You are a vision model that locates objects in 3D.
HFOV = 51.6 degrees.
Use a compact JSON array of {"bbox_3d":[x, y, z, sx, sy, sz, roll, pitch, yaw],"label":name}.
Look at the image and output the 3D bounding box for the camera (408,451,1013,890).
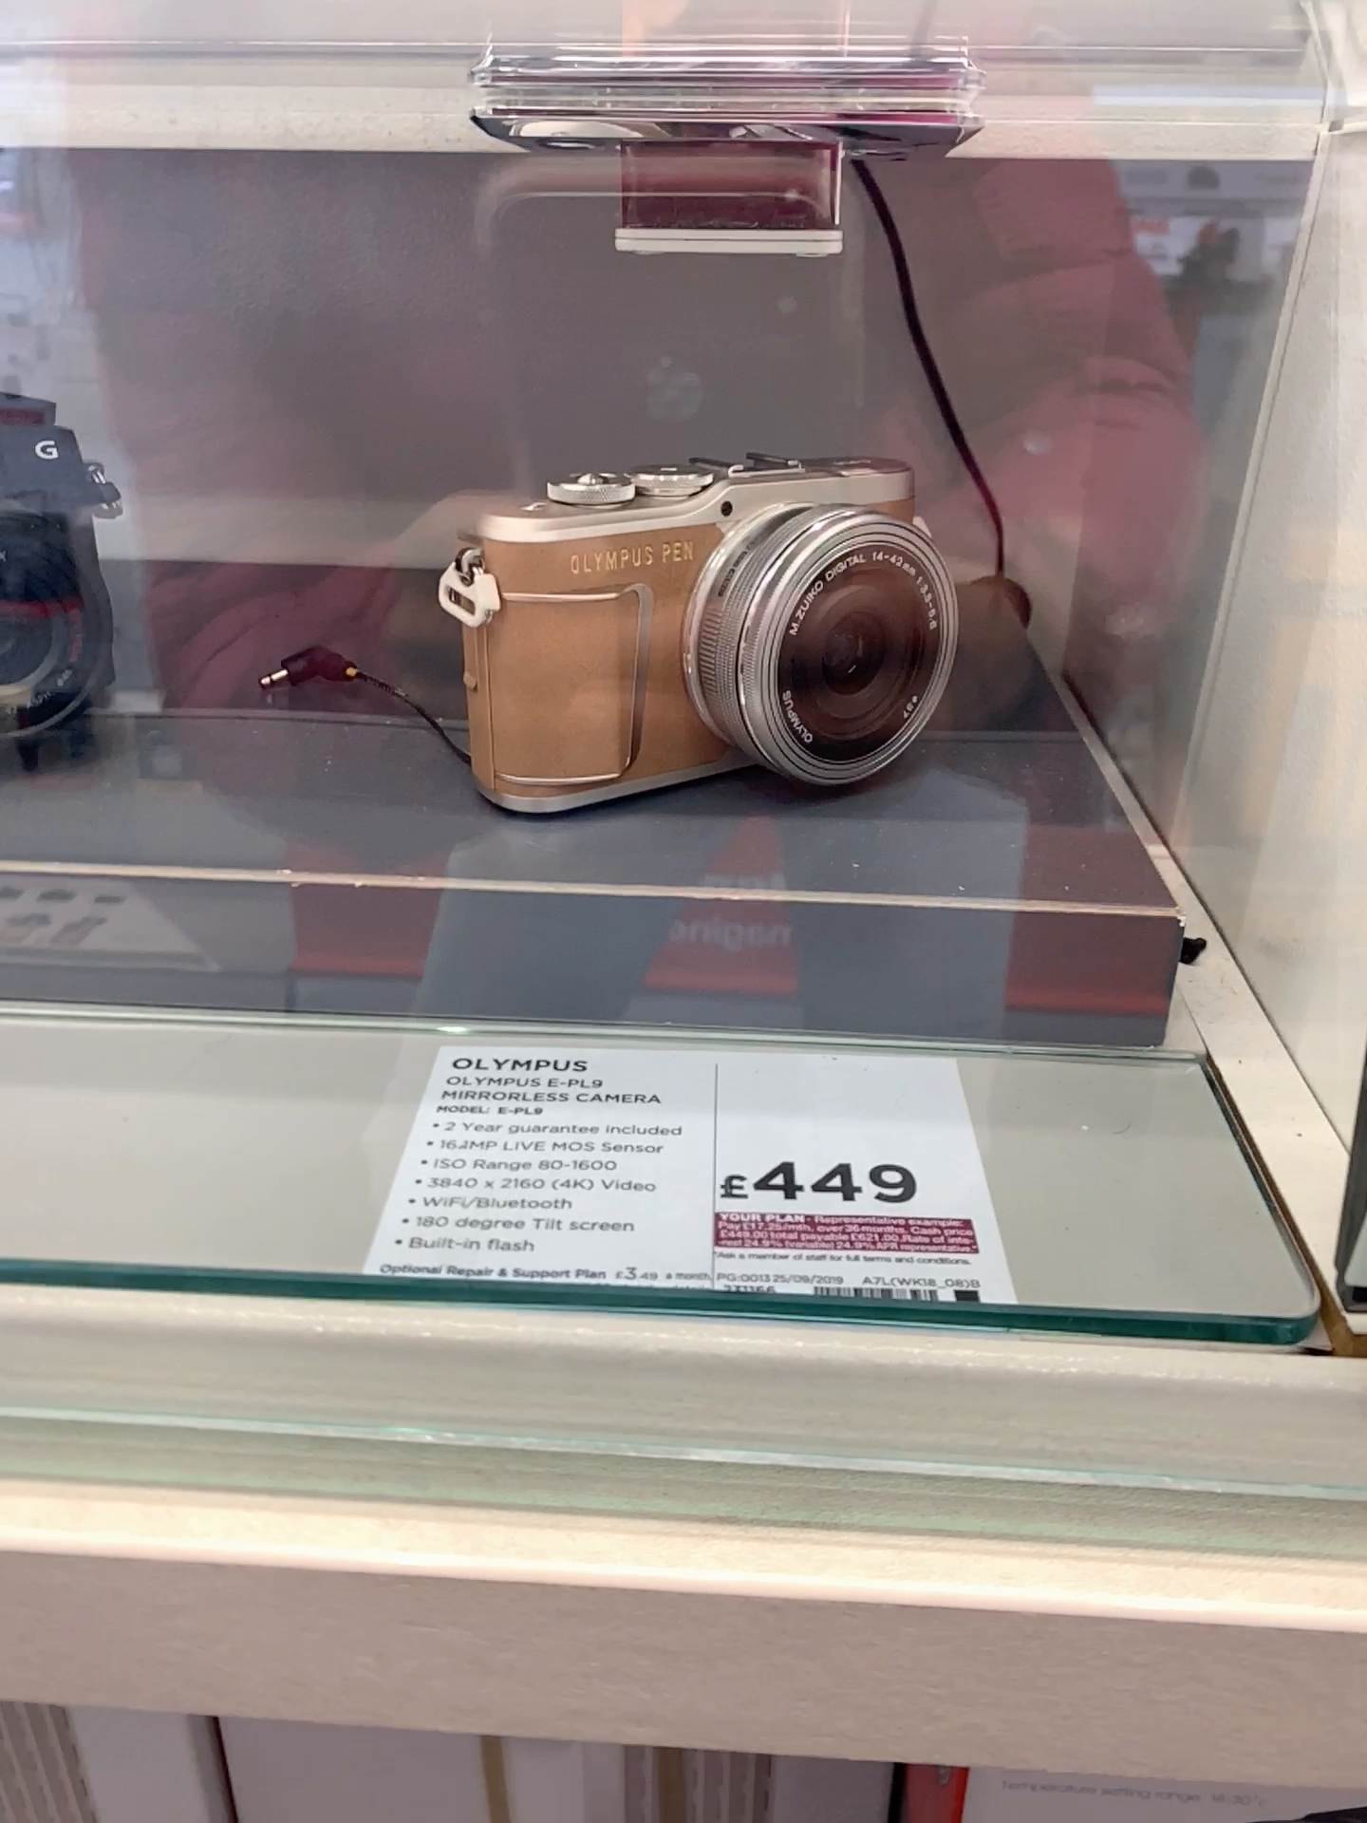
[{"bbox_3d":[0.007,-0.061,0.324,0.120,0.069,0.060,-16,30,-32],"label":"camera"}]
